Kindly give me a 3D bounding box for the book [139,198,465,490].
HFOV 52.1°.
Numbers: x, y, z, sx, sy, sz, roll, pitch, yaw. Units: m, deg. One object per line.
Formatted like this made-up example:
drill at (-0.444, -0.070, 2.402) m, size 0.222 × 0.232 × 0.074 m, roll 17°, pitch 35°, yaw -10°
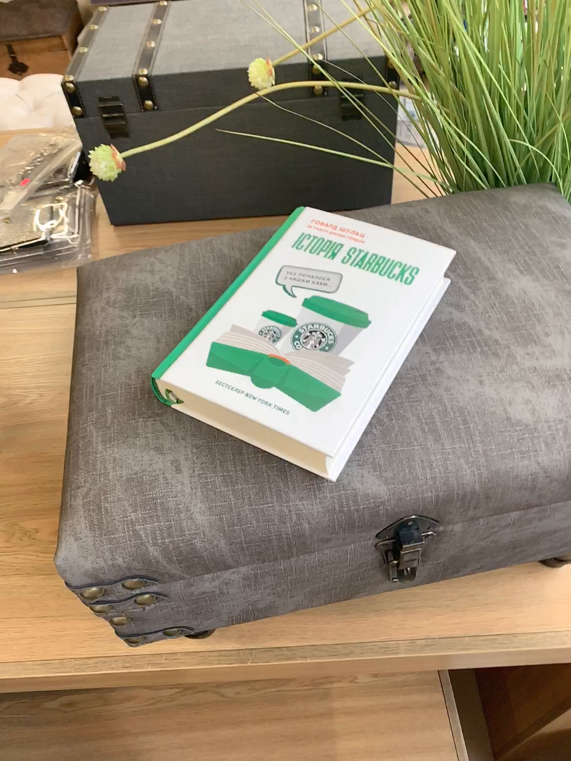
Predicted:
book at (0.023, -0.048, 0.470) m, size 0.160 × 0.040 × 0.235 m, roll 22°, pitch 56°, yaw 21°
